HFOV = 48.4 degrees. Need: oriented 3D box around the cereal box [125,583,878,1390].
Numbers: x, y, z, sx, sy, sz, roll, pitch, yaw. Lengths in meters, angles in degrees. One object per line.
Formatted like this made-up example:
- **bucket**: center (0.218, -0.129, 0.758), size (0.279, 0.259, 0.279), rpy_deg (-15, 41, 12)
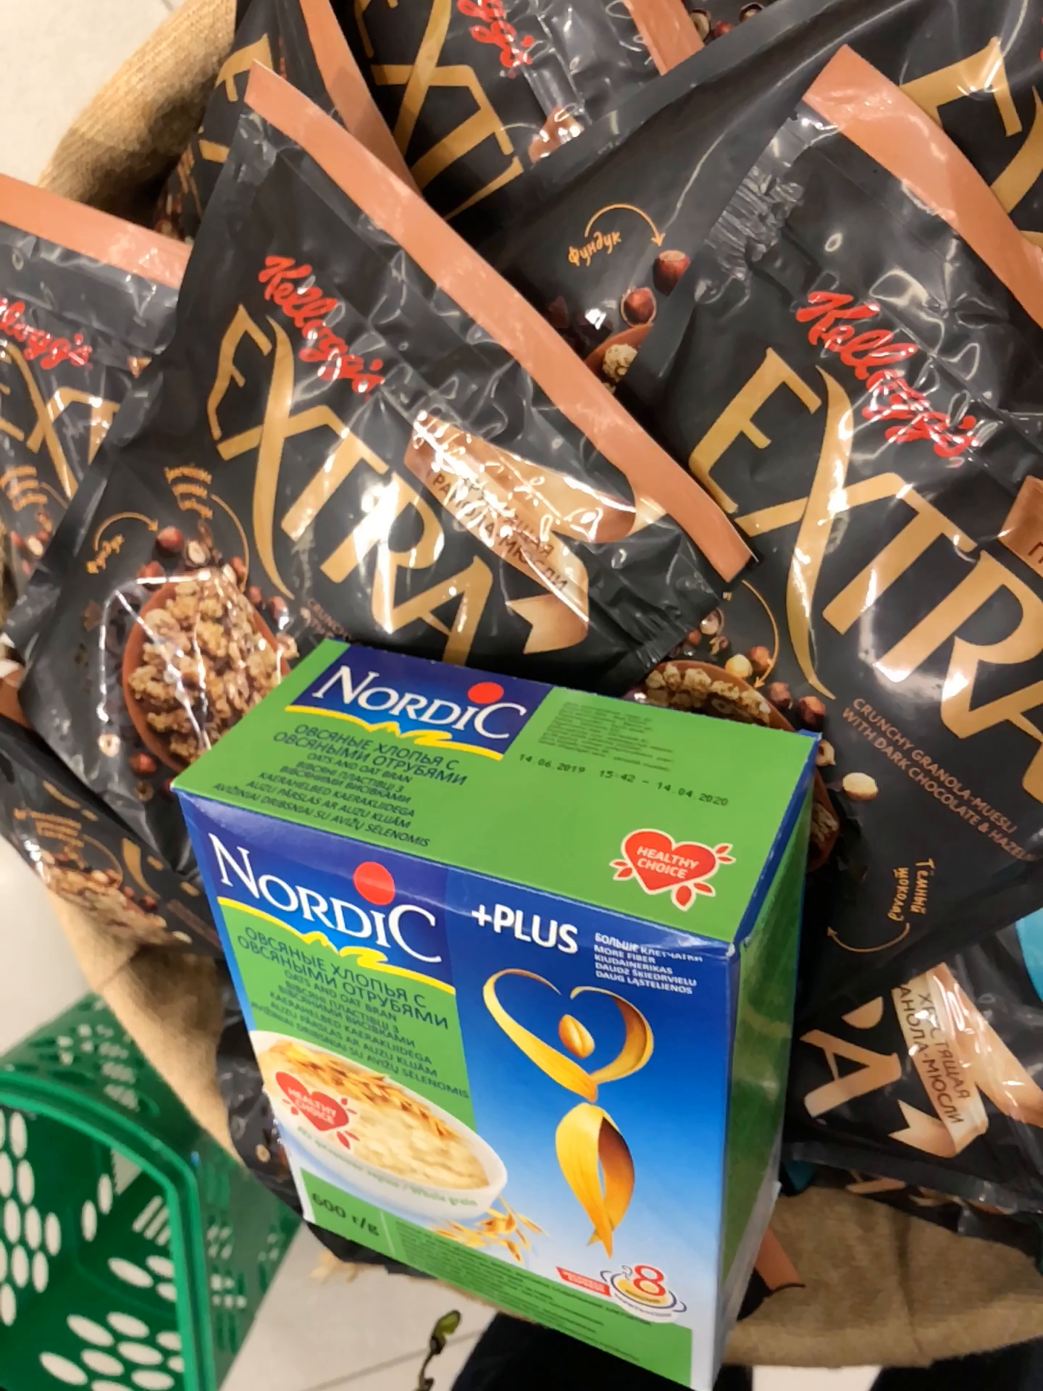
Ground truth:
- **cereal box**: center (0.002, 0.091, 0.334), size (0.160, 0.080, 0.210), rpy_deg (12, 128, 23)
